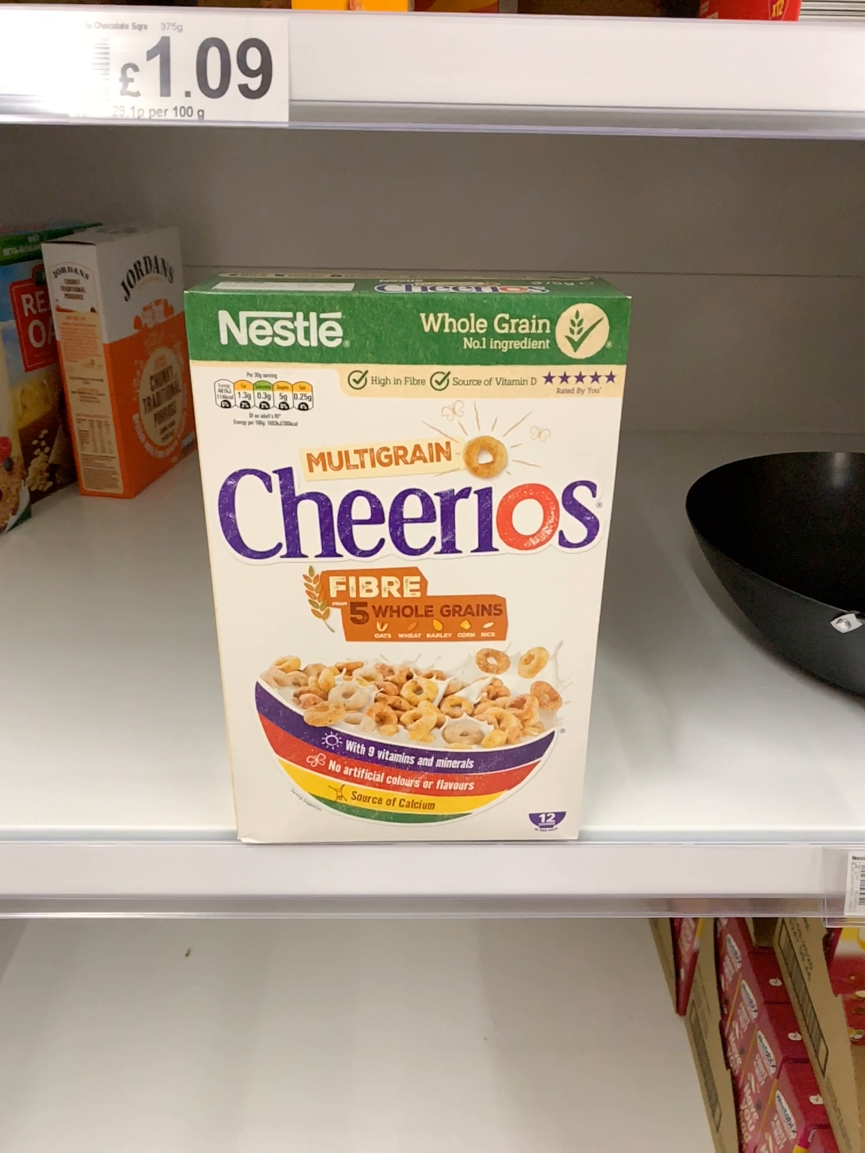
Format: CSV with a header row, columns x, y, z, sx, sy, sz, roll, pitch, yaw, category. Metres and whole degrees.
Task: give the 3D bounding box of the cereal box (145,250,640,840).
x,y,z,sx,sy,sz,roll,pitch,yaw,category
-0.019,-0.008,0.449,0.200,0.288,0.071,0,23,-3,cereal box
